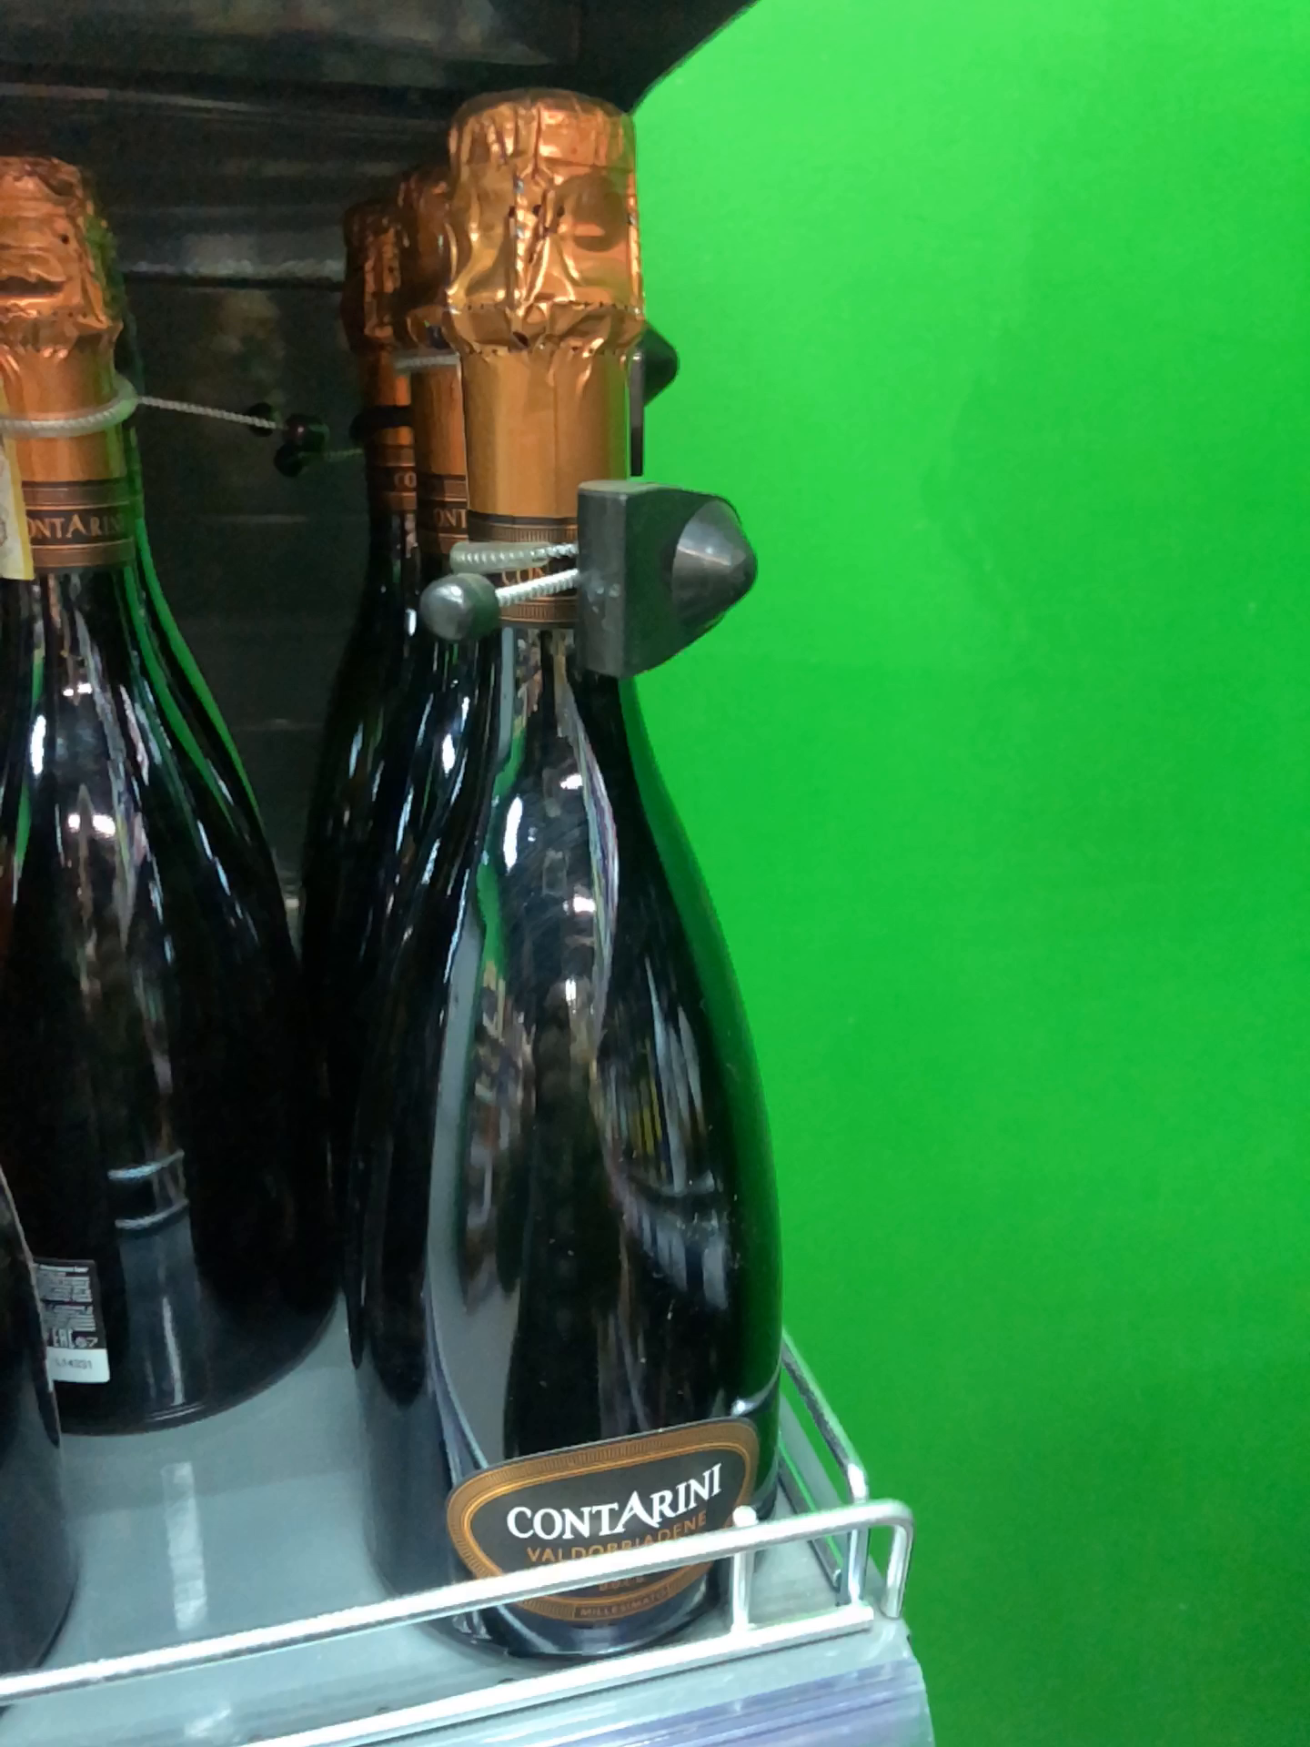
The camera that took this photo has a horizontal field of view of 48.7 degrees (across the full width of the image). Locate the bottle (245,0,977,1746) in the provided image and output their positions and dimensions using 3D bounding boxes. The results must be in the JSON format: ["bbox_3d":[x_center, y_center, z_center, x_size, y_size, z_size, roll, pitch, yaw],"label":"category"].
[{"bbox_3d":[-0.017,0.008,0.290,0.100,0.299,0.100,1,18,0],"label":"bottle"}]
